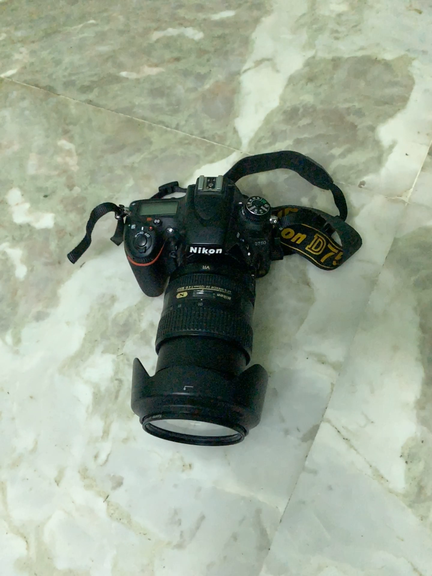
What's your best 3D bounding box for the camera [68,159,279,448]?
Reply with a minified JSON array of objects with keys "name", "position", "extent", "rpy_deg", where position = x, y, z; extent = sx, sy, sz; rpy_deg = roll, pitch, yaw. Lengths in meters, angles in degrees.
[{"name":"camera","position":[-0.019,0.010,0.357],"extent":[0.130,0.090,0.210],"rpy_deg":[-1,62,6]}]
